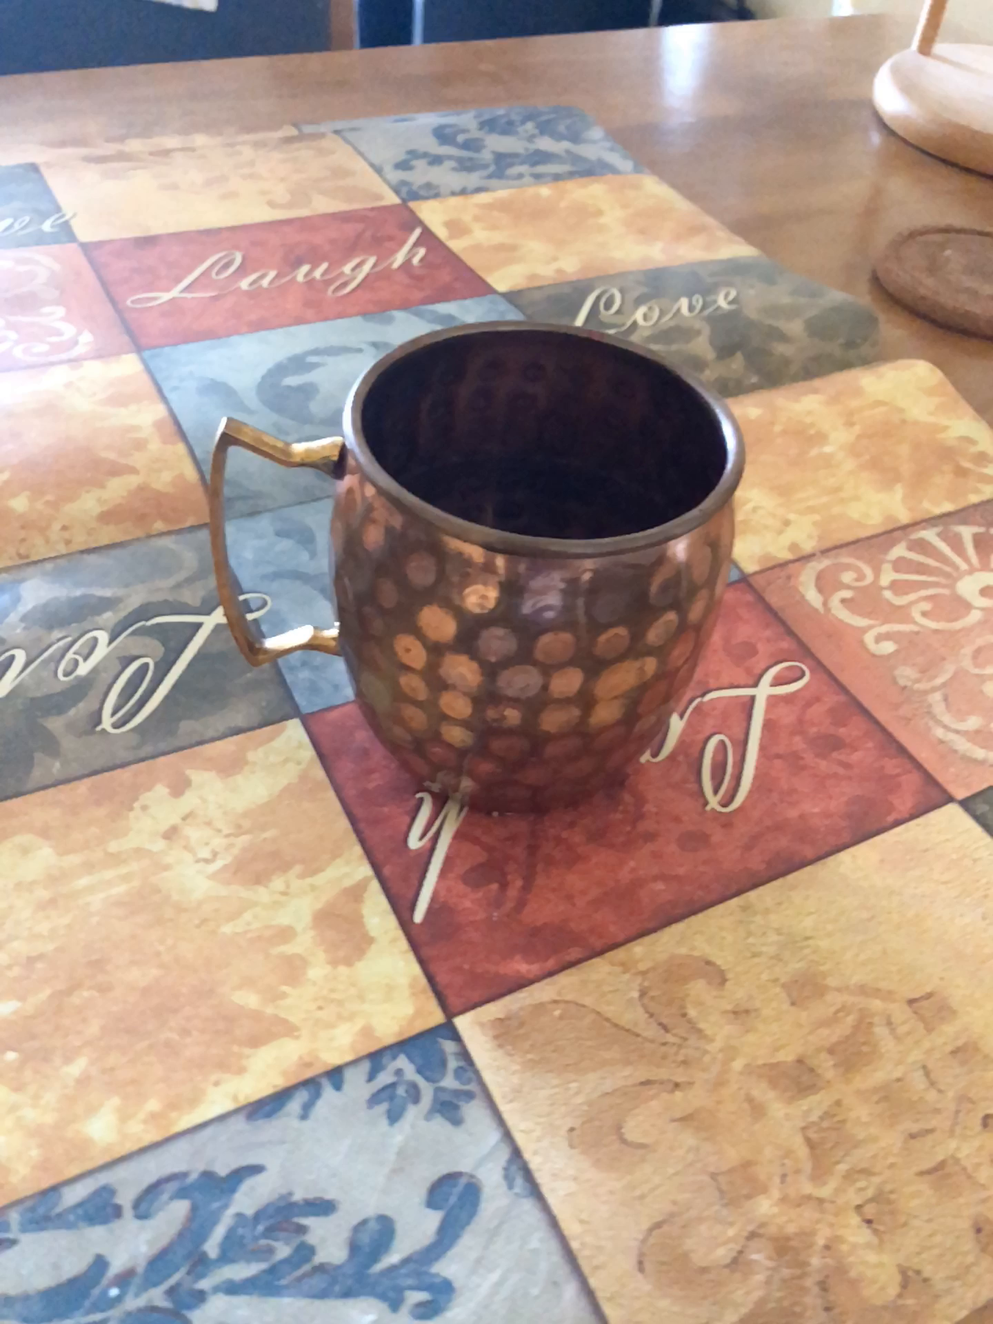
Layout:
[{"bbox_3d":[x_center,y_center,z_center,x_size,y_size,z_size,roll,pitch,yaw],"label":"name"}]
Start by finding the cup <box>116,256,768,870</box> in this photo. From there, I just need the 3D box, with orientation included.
[{"bbox_3d":[-0.008,-0.025,0.268,0.120,0.090,0.100,8,46,2],"label":"cup"}]
